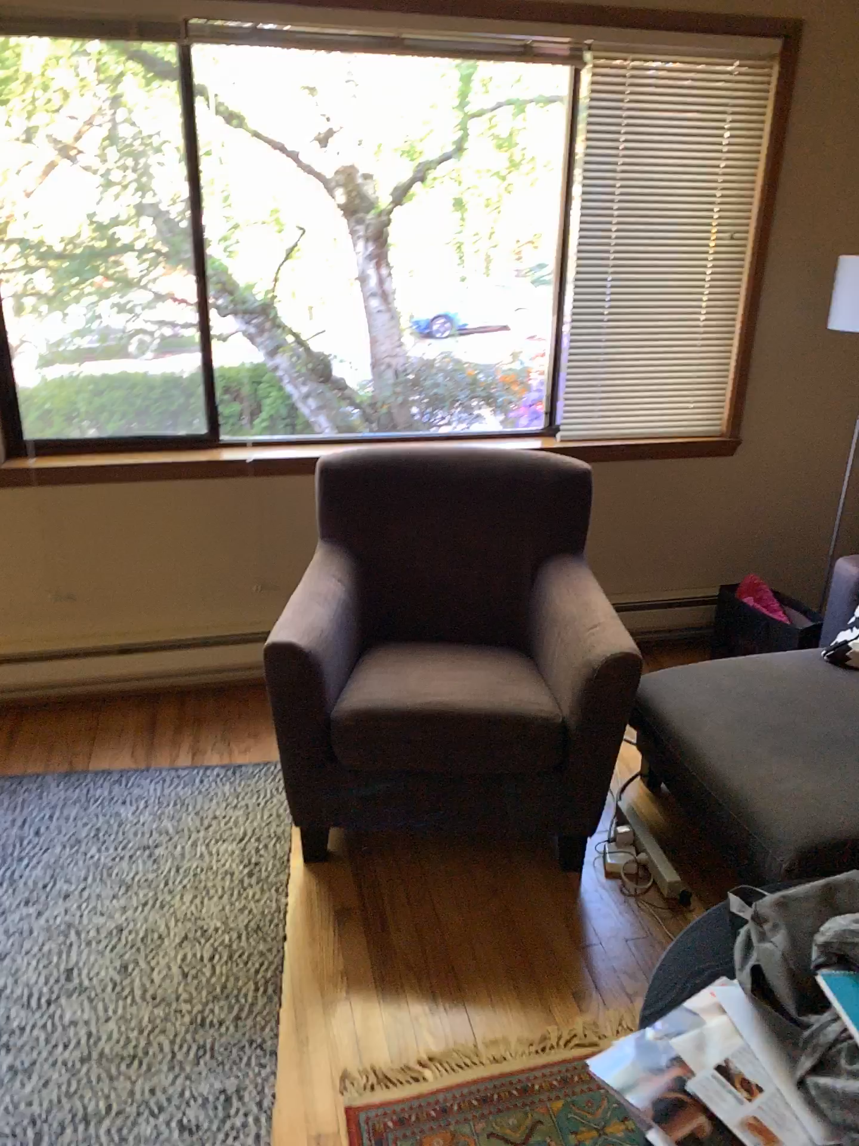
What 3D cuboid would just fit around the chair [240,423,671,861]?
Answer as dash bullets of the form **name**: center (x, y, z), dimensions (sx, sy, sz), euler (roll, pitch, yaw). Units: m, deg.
- **chair**: center (0.045, 0.121, 2.299), dimensions (0.880, 0.876, 0.804), euler (1, 19, 0)
